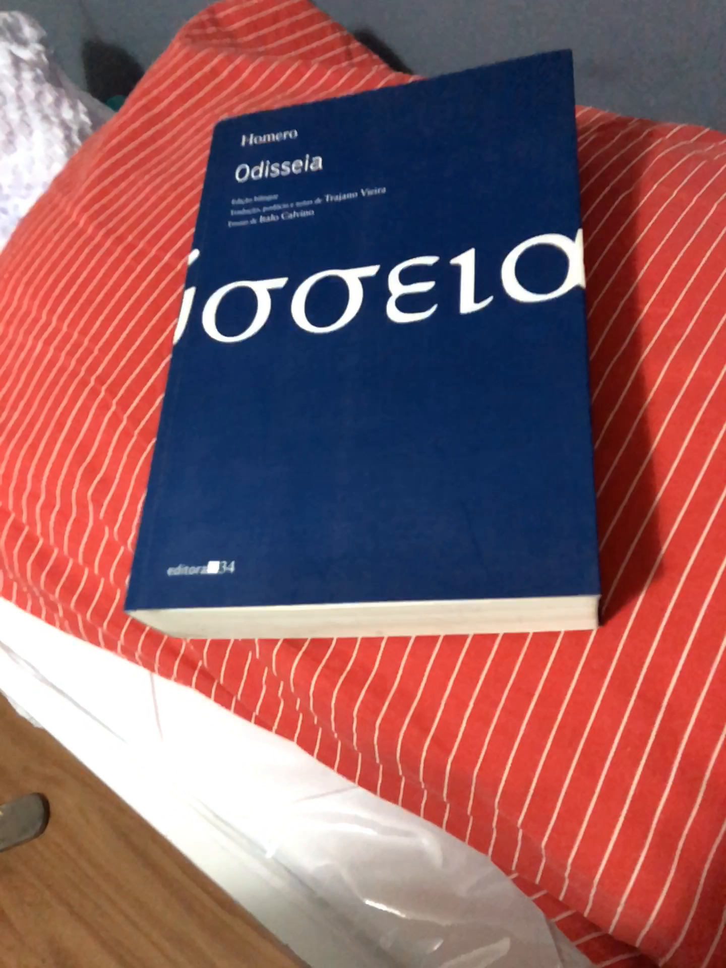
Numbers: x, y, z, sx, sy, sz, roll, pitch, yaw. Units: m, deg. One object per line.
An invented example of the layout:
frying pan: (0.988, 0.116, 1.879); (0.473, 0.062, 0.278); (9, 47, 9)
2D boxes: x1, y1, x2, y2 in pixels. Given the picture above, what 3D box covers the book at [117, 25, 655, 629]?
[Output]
book: (0.013, -0.063, 0.308); (0.170, 0.040, 0.231); (-4, 63, 18)
